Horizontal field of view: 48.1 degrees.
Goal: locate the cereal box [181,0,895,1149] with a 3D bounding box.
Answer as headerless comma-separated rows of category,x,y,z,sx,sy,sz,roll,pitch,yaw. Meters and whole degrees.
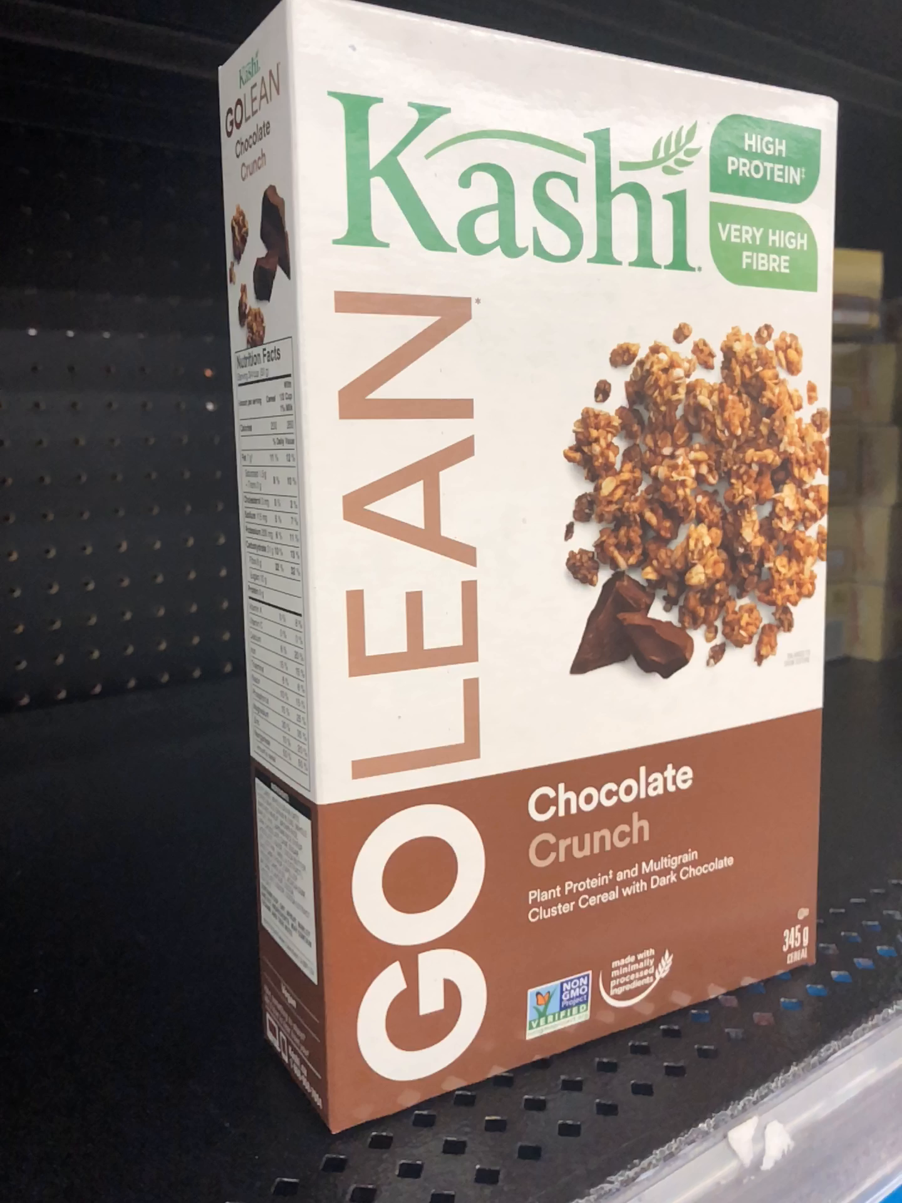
cereal box,0.031,-0.014,0.270,0.180,0.250,0.050,-5,9,-28
